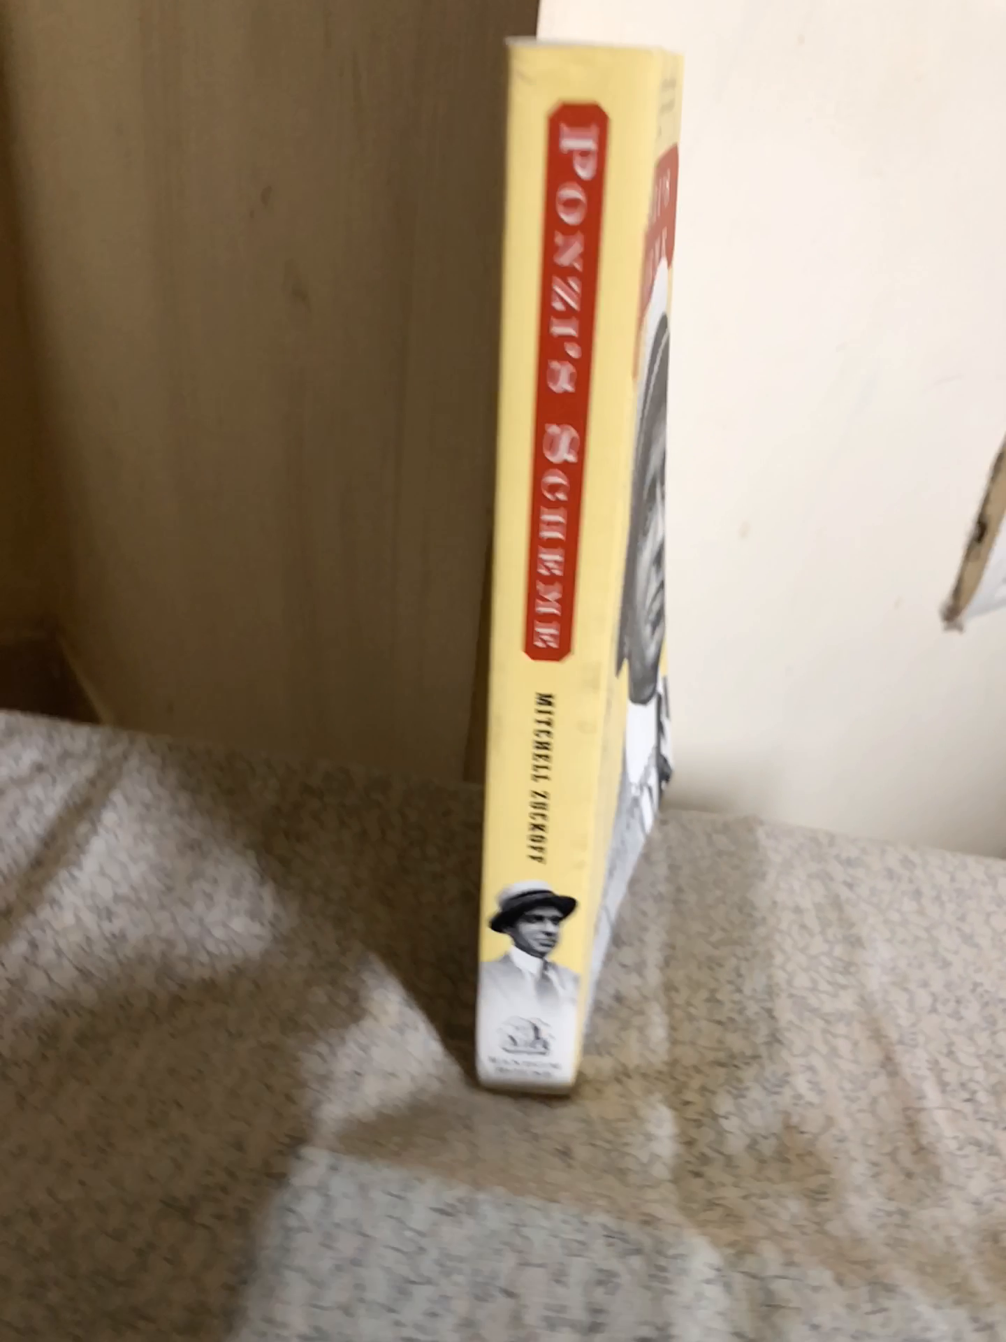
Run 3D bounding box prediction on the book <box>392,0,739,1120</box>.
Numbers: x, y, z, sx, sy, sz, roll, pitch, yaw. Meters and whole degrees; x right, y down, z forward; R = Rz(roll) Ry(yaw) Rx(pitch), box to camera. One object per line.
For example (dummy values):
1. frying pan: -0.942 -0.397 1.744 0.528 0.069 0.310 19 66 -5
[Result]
1. book: 0.017 -0.030 0.258 0.040 0.209 0.141 8 30 10
